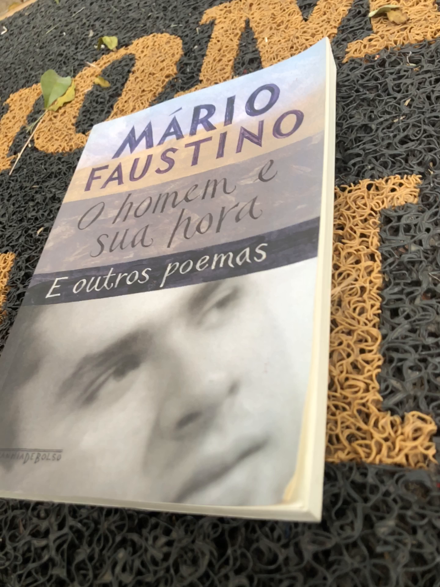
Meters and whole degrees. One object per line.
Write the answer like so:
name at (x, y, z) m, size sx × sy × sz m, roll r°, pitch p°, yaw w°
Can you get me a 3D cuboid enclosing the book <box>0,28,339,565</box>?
book at (-0.024, -0.013, 0.172) m, size 0.124 × 0.020 × 0.175 m, roll -8°, pitch 54°, yaw 26°
